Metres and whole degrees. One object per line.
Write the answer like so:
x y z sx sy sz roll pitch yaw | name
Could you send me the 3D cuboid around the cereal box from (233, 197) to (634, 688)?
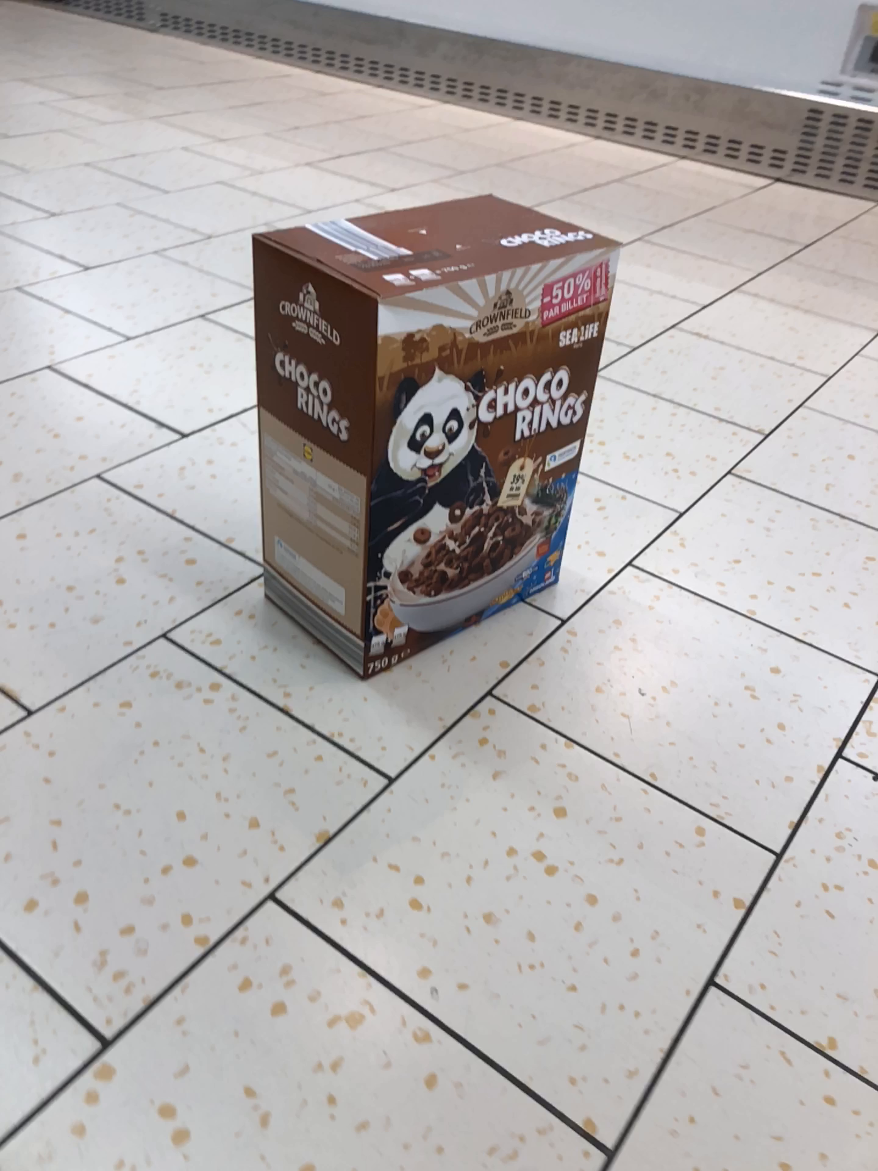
-0.010 -0.101 0.640 0.201 0.248 0.130 -23 45 -35 | cereal box
